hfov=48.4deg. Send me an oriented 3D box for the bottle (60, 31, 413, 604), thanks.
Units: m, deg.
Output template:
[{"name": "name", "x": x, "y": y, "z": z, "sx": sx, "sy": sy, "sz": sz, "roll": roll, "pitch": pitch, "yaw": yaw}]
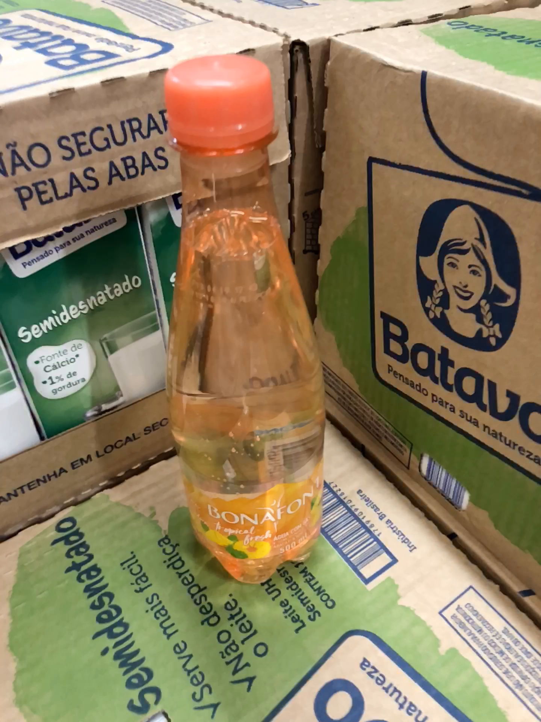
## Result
[{"name": "bottle", "x": -0.005, "y": 0.006, "z": 0.238, "sx": 0.080, "sy": 0.229, "sz": 0.070, "roll": 0, "pitch": 41, "yaw": 2}]
